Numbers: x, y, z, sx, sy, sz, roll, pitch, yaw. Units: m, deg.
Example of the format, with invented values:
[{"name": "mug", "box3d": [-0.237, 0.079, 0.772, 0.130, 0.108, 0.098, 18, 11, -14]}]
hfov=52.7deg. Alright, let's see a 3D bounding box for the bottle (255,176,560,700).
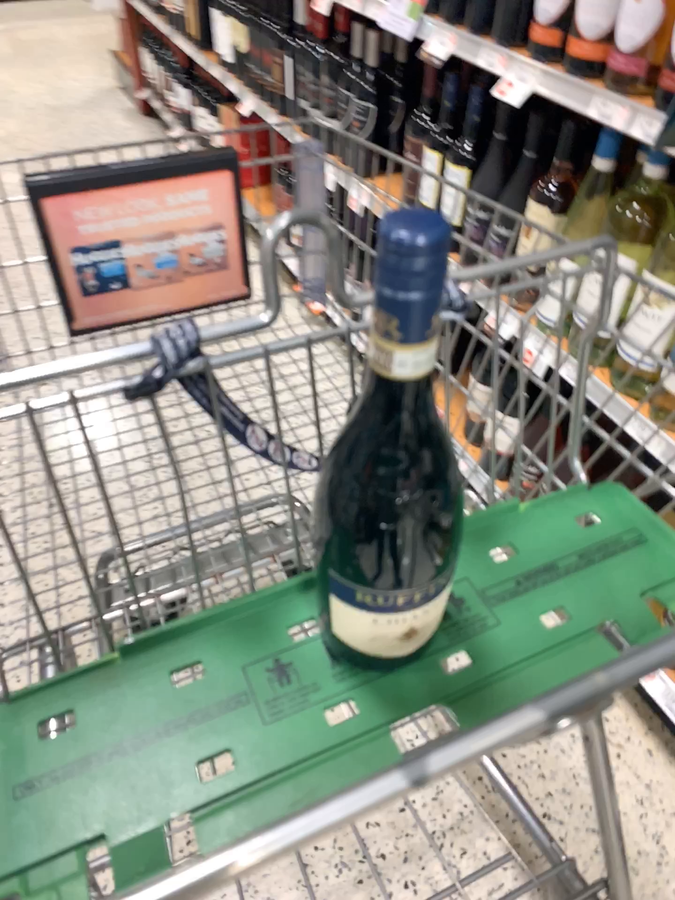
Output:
[{"name": "bottle", "box3d": [0.023, 0.011, 0.364, 0.090, 0.267, 0.091, 0, 42, 0]}]
